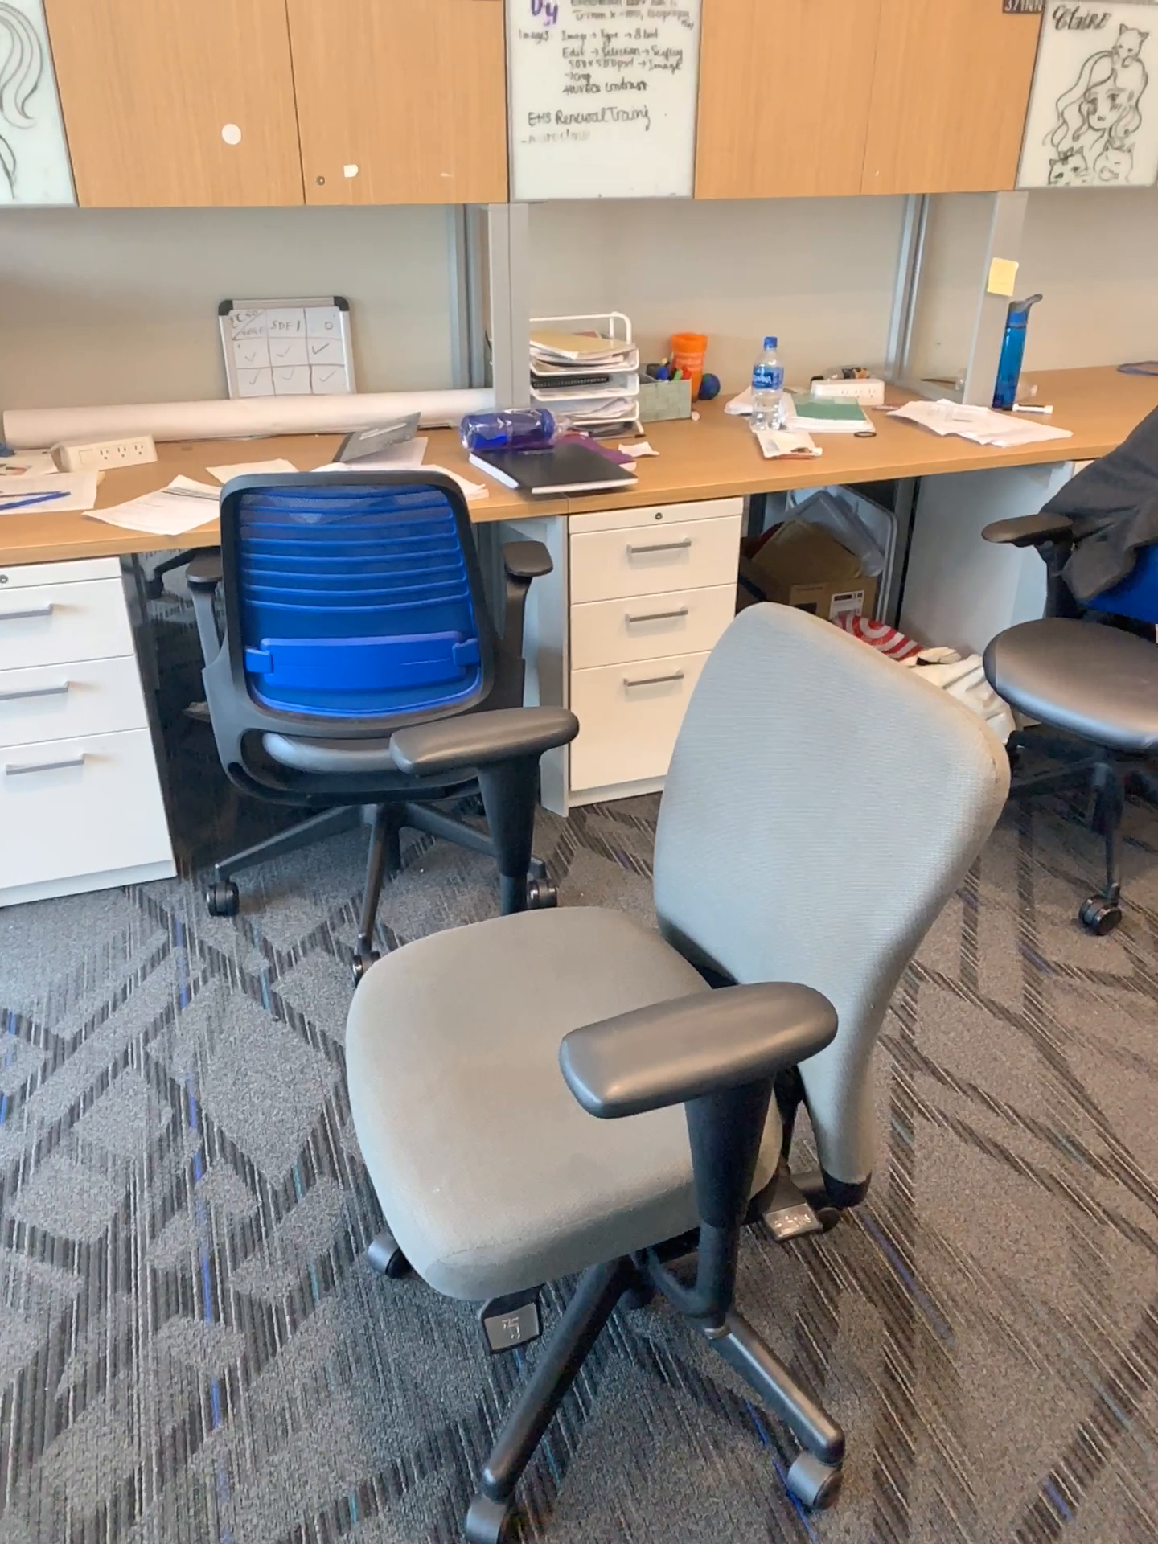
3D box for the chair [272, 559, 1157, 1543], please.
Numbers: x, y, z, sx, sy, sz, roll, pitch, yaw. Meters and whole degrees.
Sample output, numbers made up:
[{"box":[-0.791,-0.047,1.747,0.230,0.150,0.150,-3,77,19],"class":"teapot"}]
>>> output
[{"box":[0.062,0.287,1.341,0.661,0.813,0.675,-8,30,-15],"class":"chair"}]
